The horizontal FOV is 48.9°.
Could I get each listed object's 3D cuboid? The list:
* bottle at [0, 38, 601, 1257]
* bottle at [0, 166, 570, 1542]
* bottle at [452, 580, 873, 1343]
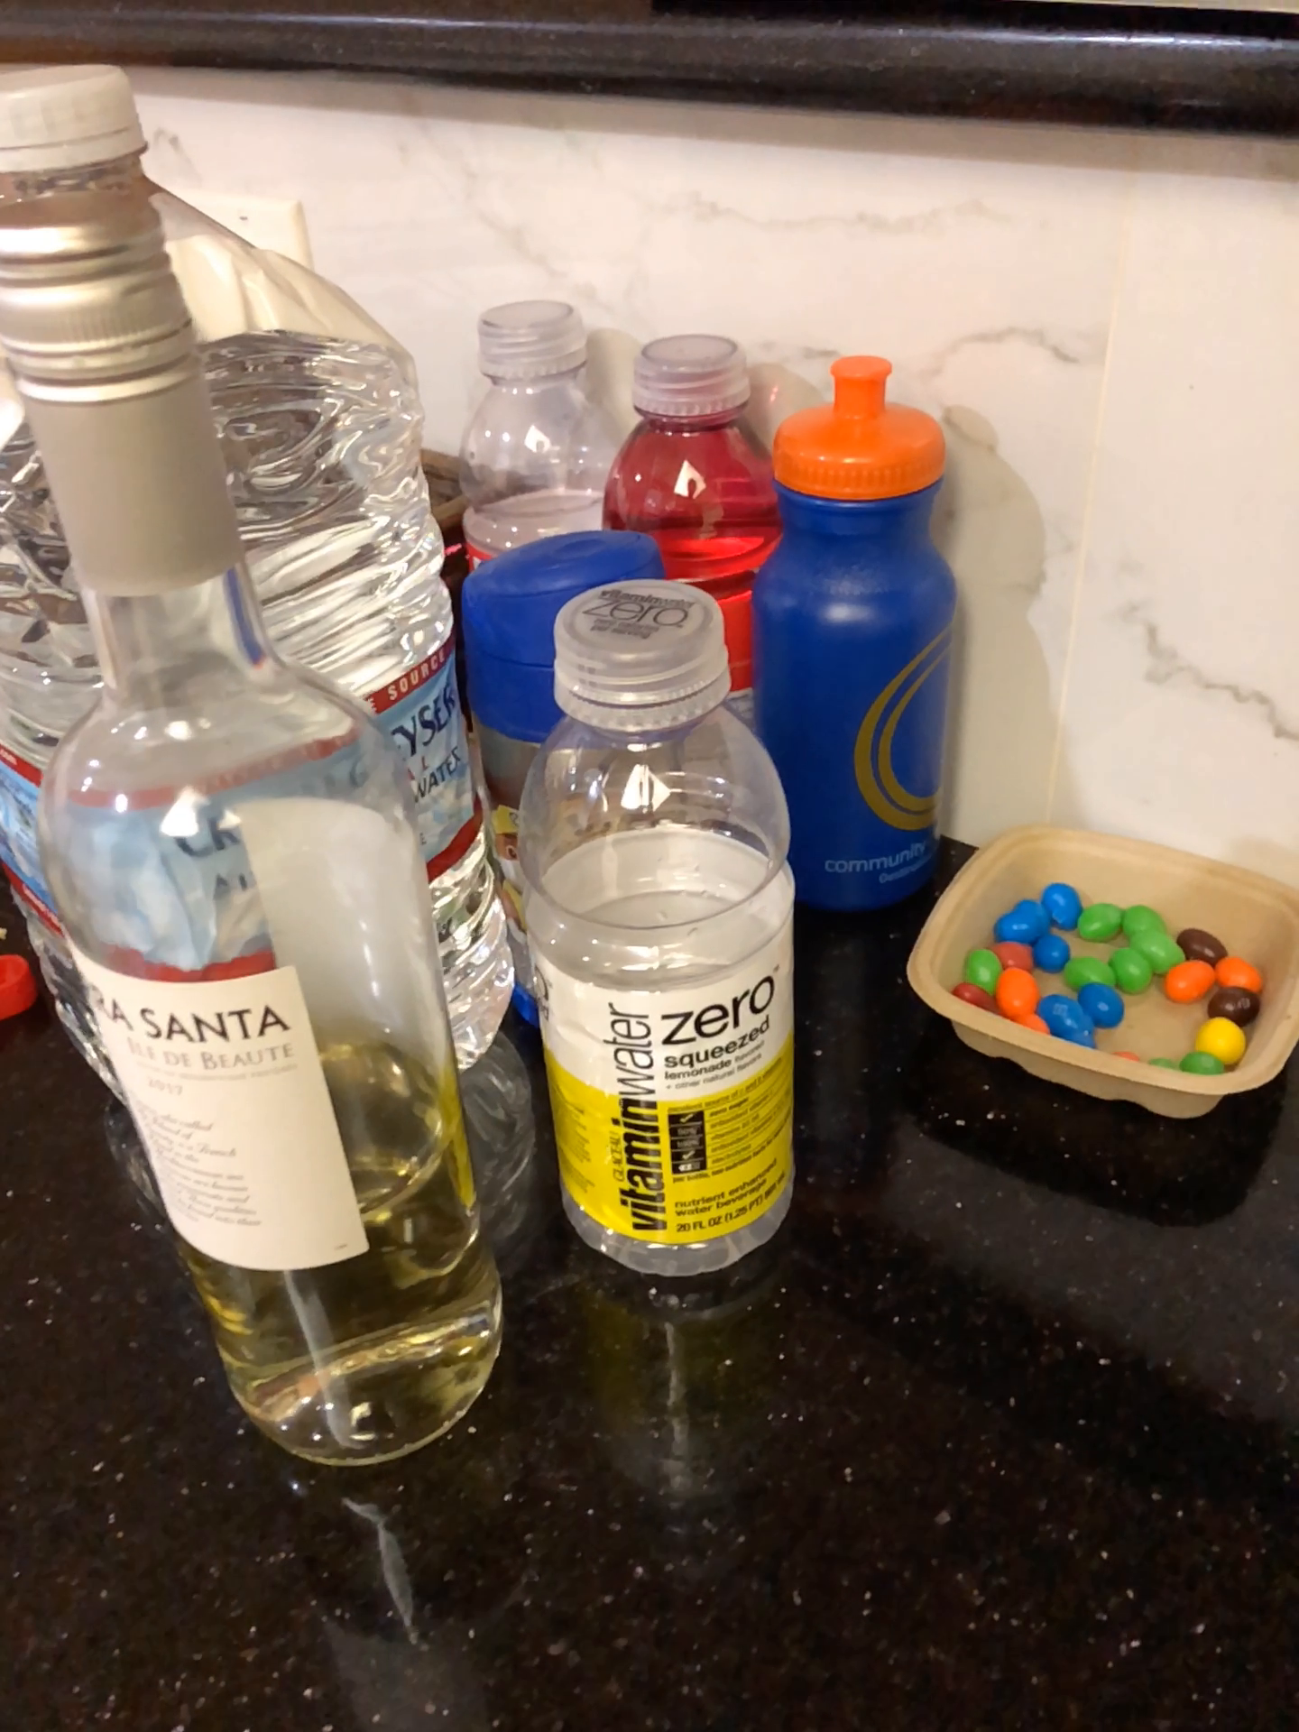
[{"bbox_3d":[-0.118,-0.059,0.398,0.130,0.278,0.140,-2,36,2],"label":"bottle"},{"bbox_3d":[-0.076,0.016,0.287,0.070,0.268,0.070,-2,36,2],"label":"bottle"},{"bbox_3d":[0.003,0.026,0.336,0.070,0.159,0.070,-2,36,2],"label":"bottle"}]
